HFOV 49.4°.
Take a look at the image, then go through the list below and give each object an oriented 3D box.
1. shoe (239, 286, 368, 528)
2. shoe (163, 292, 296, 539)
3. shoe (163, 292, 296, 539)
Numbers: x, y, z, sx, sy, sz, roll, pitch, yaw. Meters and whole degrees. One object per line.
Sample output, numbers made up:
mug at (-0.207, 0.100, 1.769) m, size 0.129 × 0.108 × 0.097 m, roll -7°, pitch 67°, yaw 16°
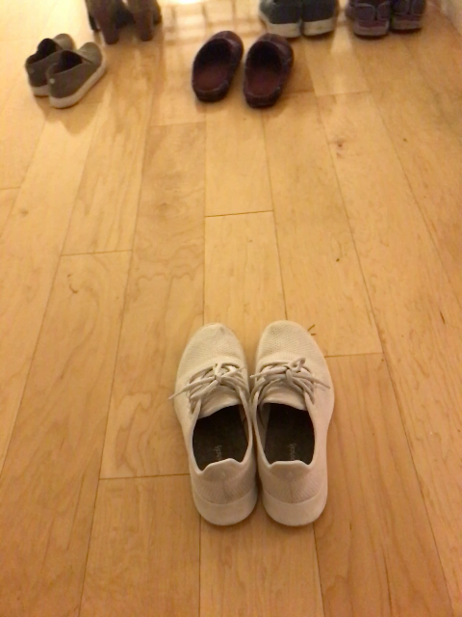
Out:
shoe at (0.075, 0.105, 0.607) m, size 0.120 × 0.070 × 0.282 m, roll -4°, pitch 50°, yaw 3°
shoe at (-0.010, 0.121, 0.634) m, size 0.130 × 0.089 × 0.282 m, roll -8°, pitch 50°, yaw 0°
shoe at (-0.010, 0.121, 0.634) m, size 0.130 × 0.089 × 0.282 m, roll -8°, pitch 50°, yaw 0°
